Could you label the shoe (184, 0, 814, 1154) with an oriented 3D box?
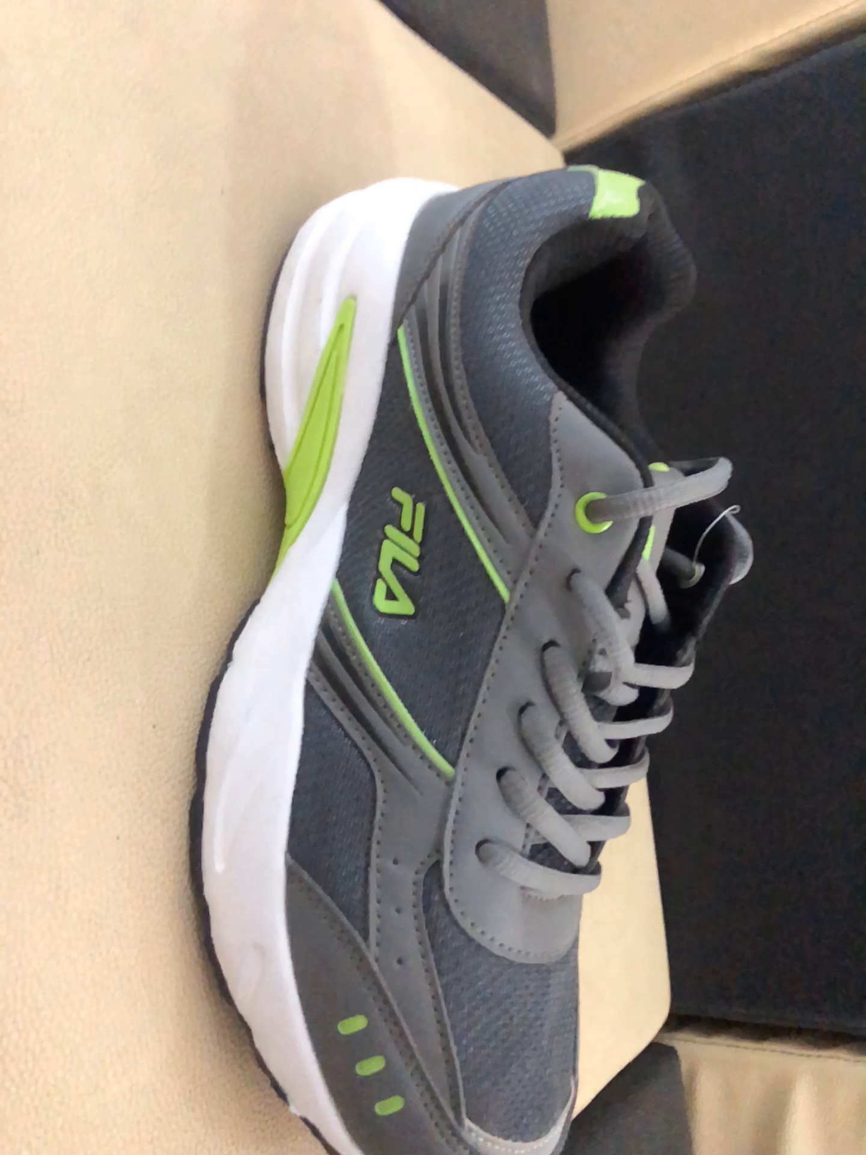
[{"bbox_3d":[0.017,0.006,0.271,0.131,0.099,0.320,14,69,-53],"label":"shoe"}]
